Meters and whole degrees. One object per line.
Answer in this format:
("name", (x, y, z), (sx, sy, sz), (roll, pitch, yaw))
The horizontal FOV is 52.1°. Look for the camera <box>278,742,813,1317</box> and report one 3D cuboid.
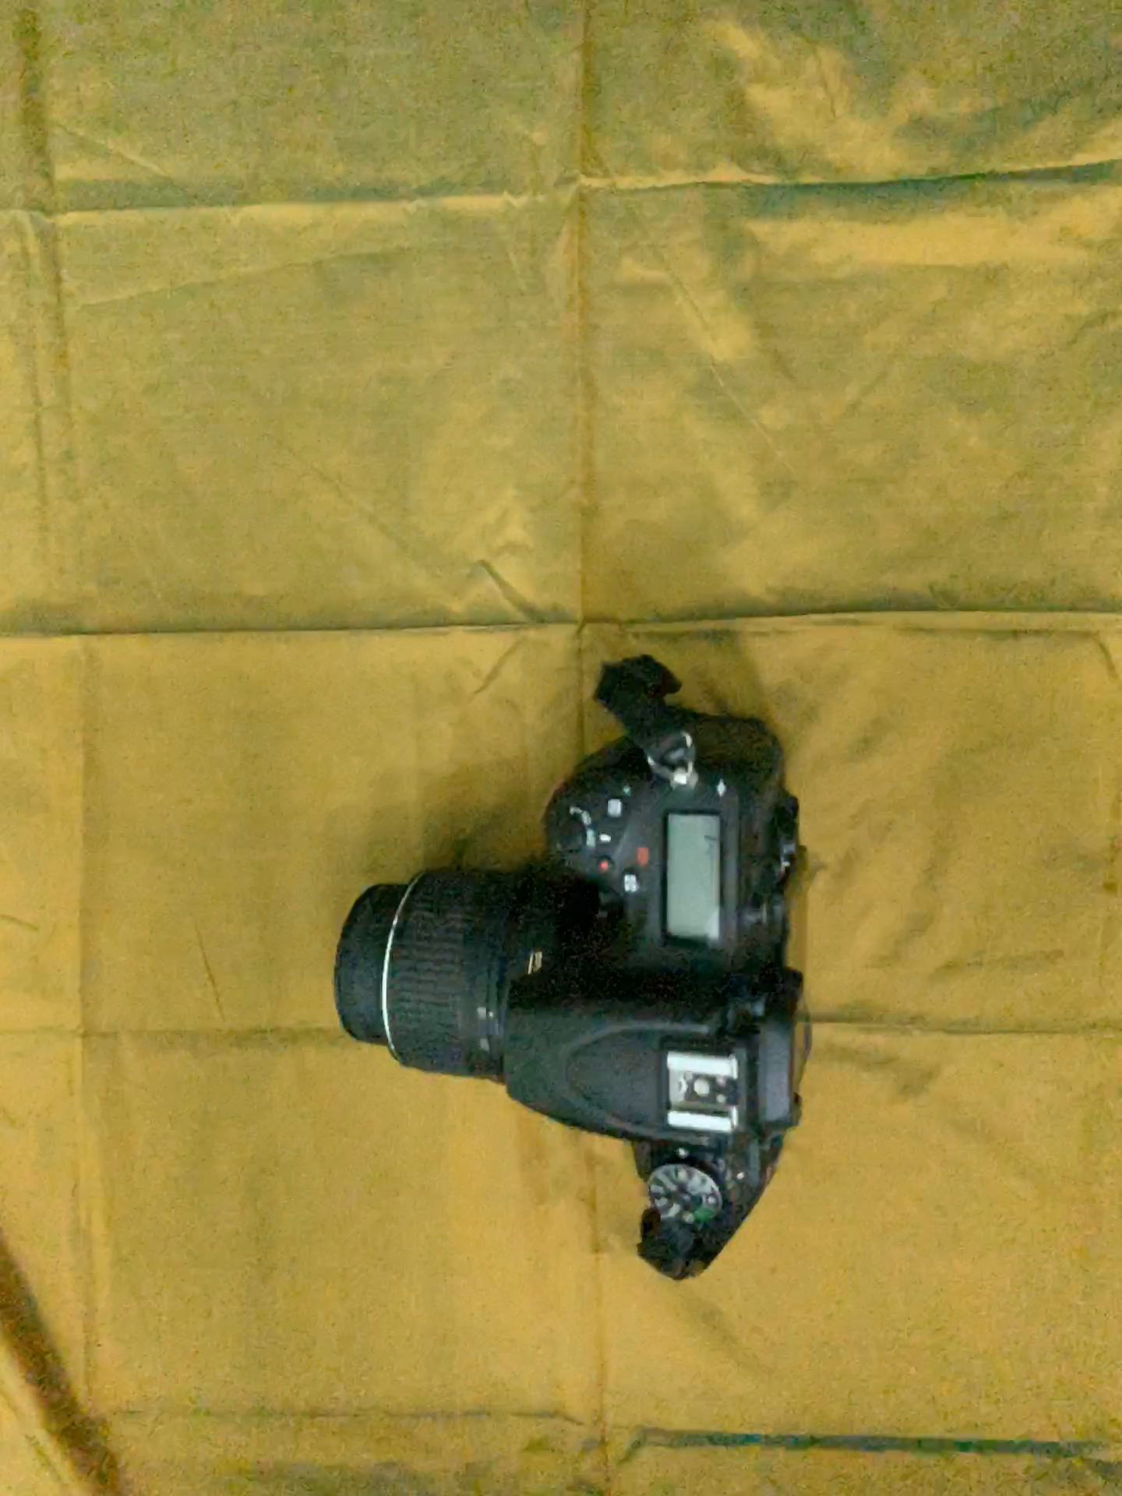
("camera", (0.005, 0.071, 0.361), (0.131, 0.120, 0.135), (0, 96, 19))
